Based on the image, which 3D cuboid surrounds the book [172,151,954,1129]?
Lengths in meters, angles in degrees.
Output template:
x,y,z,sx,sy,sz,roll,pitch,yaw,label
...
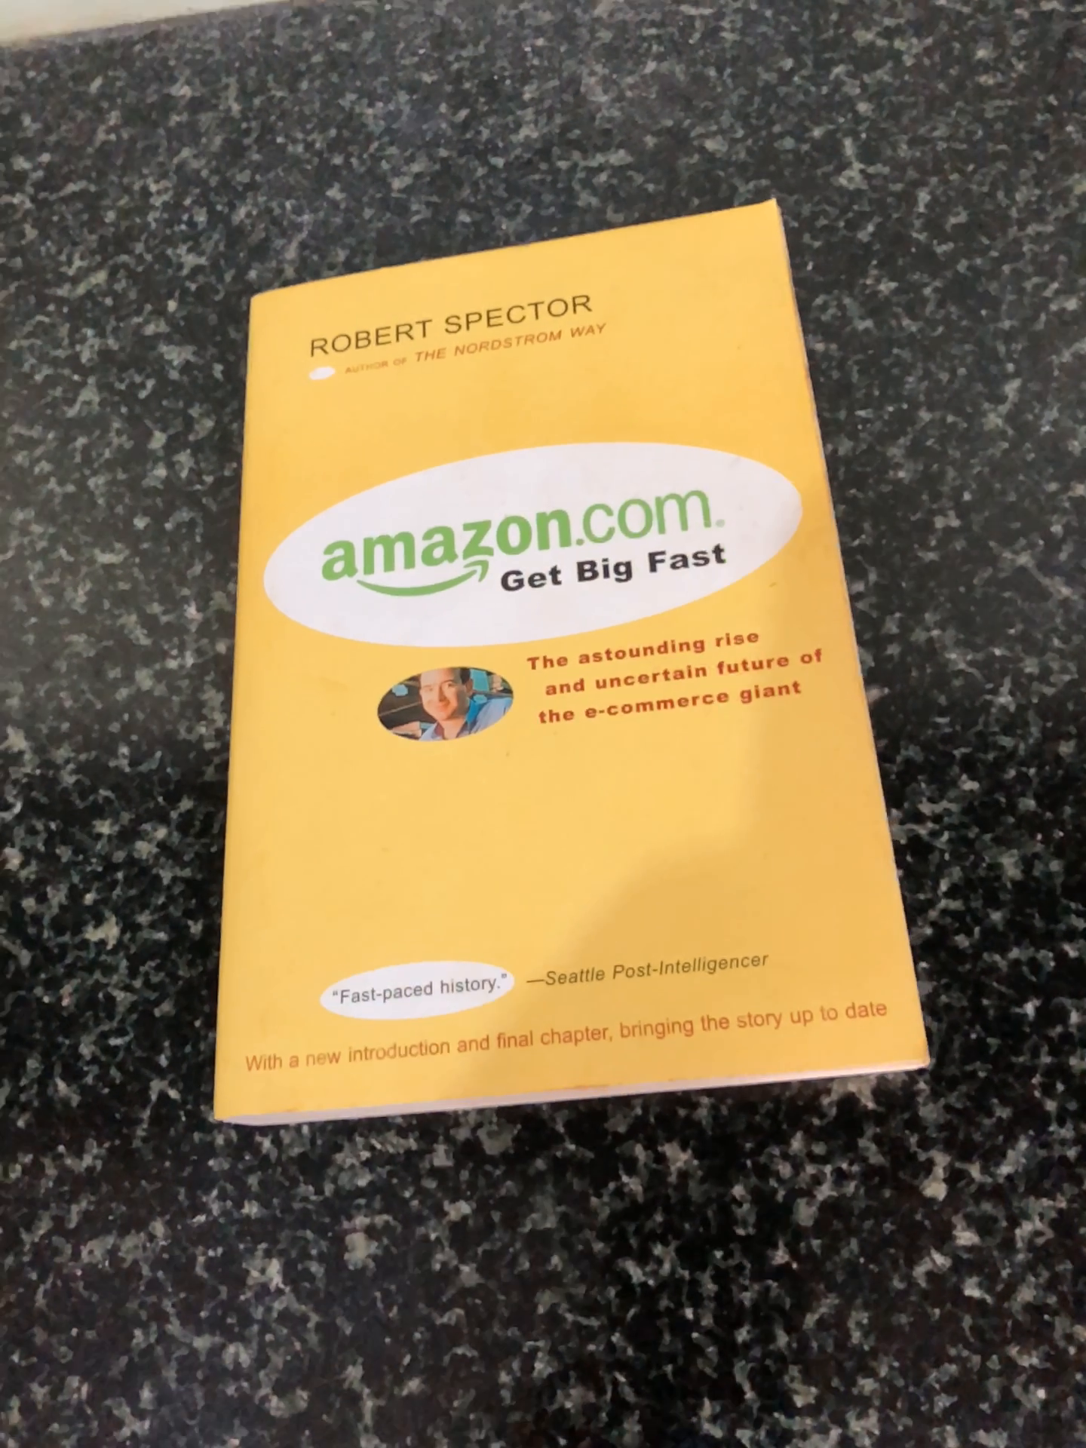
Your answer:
x,y,z,sx,sy,sz,roll,pitch,yaw,label
-0.003,-0.027,0.271,0.140,0.030,0.210,-7,66,7,book
